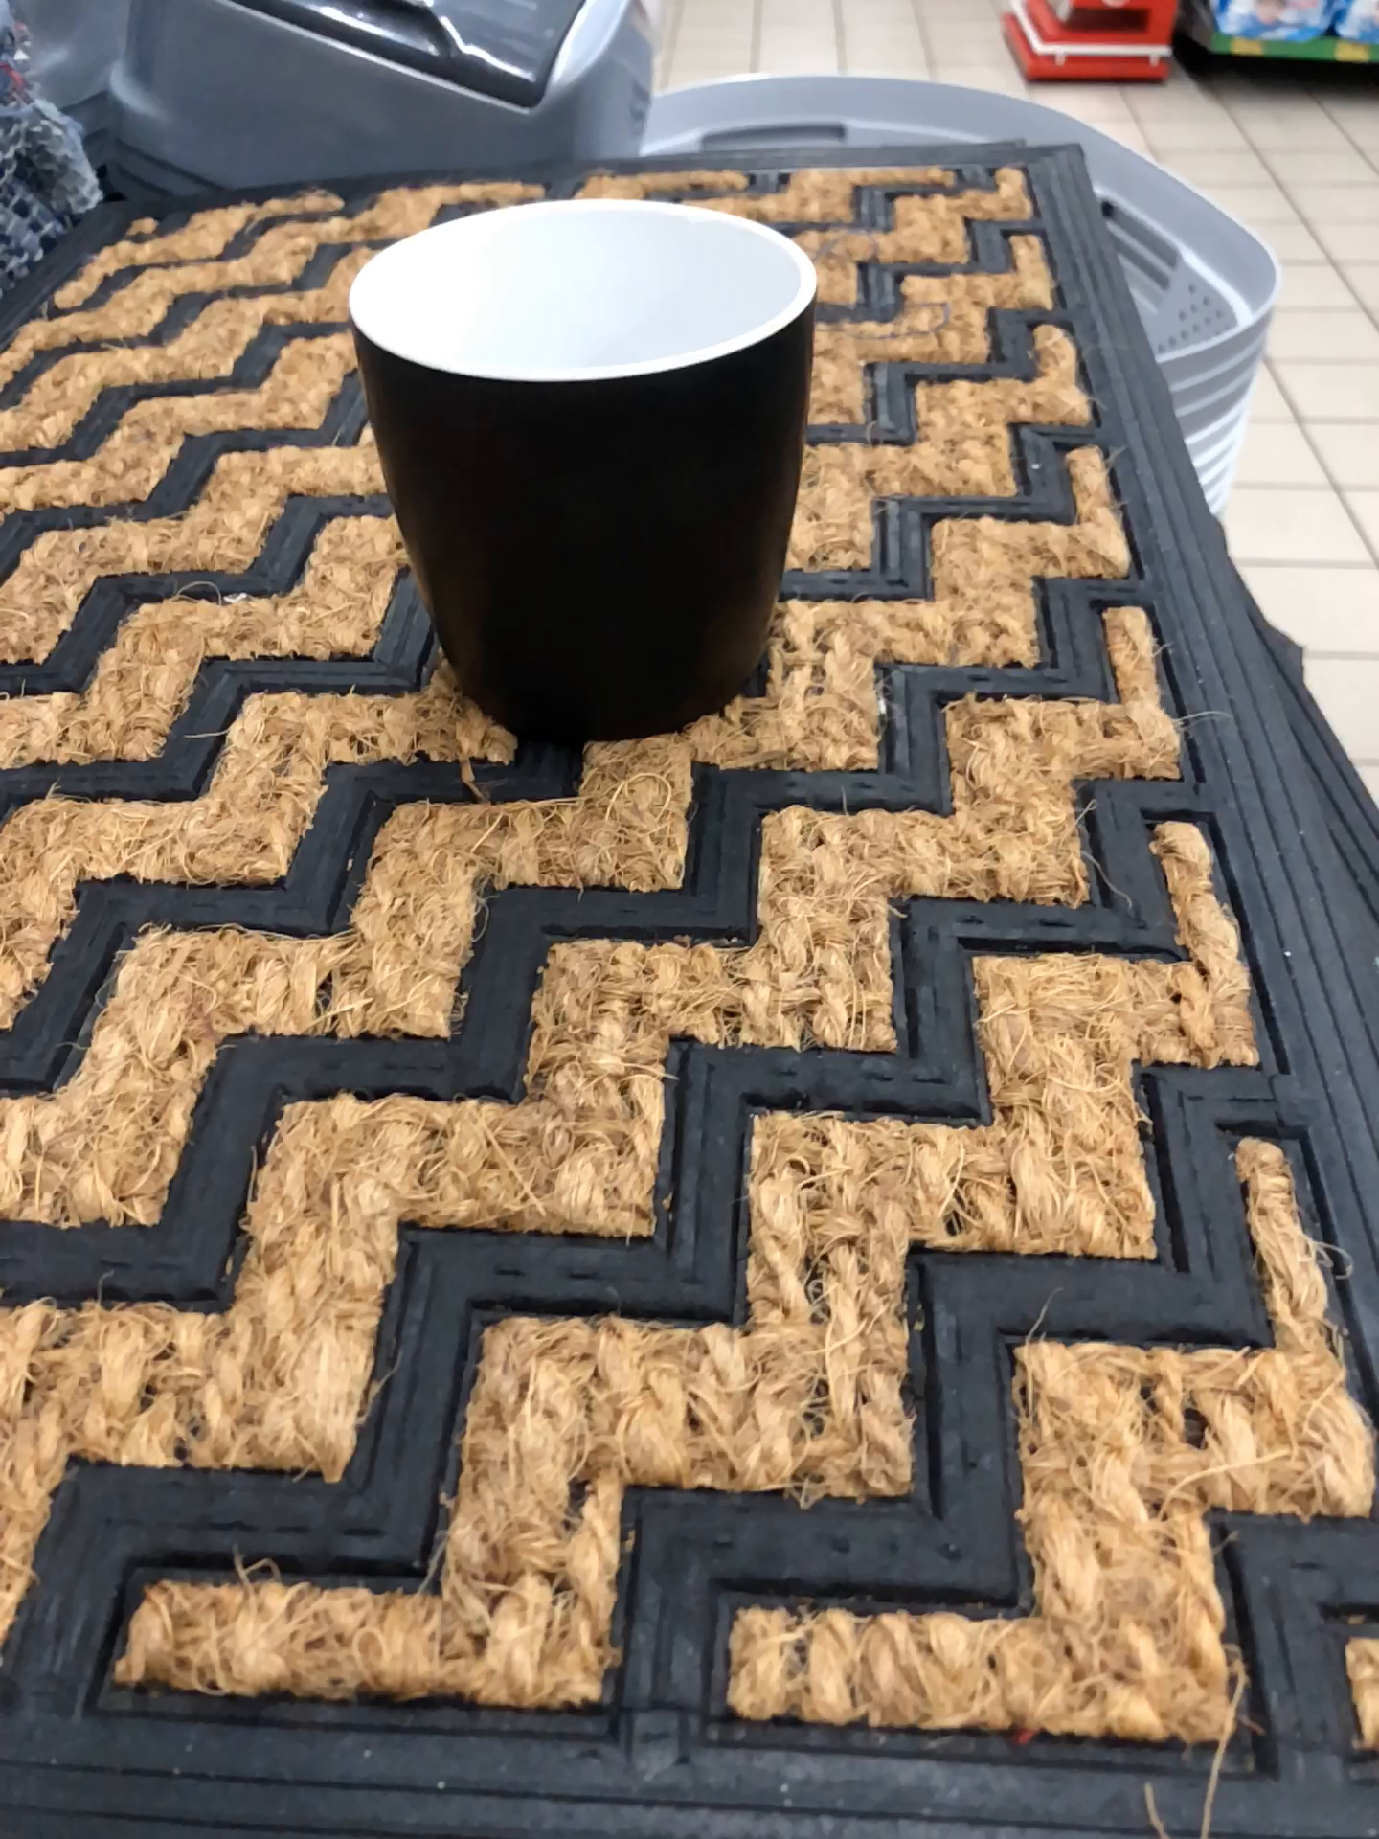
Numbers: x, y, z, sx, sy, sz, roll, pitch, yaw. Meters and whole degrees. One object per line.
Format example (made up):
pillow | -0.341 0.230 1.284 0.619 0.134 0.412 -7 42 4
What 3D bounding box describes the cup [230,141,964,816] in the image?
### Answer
cup | -0.014 -0.102 0.331 0.090 0.081 0.123 25 49 25
